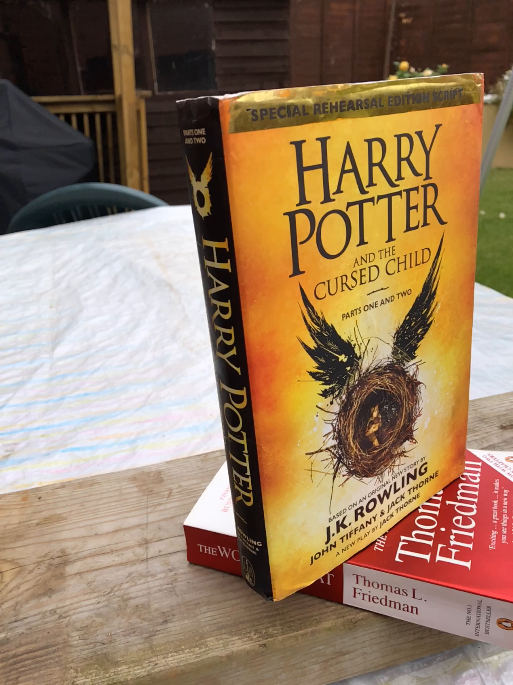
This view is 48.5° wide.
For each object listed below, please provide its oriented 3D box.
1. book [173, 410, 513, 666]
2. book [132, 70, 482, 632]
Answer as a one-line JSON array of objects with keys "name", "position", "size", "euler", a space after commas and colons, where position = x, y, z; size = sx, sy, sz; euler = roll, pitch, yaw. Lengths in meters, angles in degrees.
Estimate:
[{"name": "book", "position": [0.065, 0.105, 0.361], "size": [0.190, 0.040, 0.131], "euler": [6, 24, 23]}, {"name": "book", "position": [0.042, -0.004, 0.290], "size": [0.170, 0.239, 0.040], "euler": [-18, 22, -32]}]
